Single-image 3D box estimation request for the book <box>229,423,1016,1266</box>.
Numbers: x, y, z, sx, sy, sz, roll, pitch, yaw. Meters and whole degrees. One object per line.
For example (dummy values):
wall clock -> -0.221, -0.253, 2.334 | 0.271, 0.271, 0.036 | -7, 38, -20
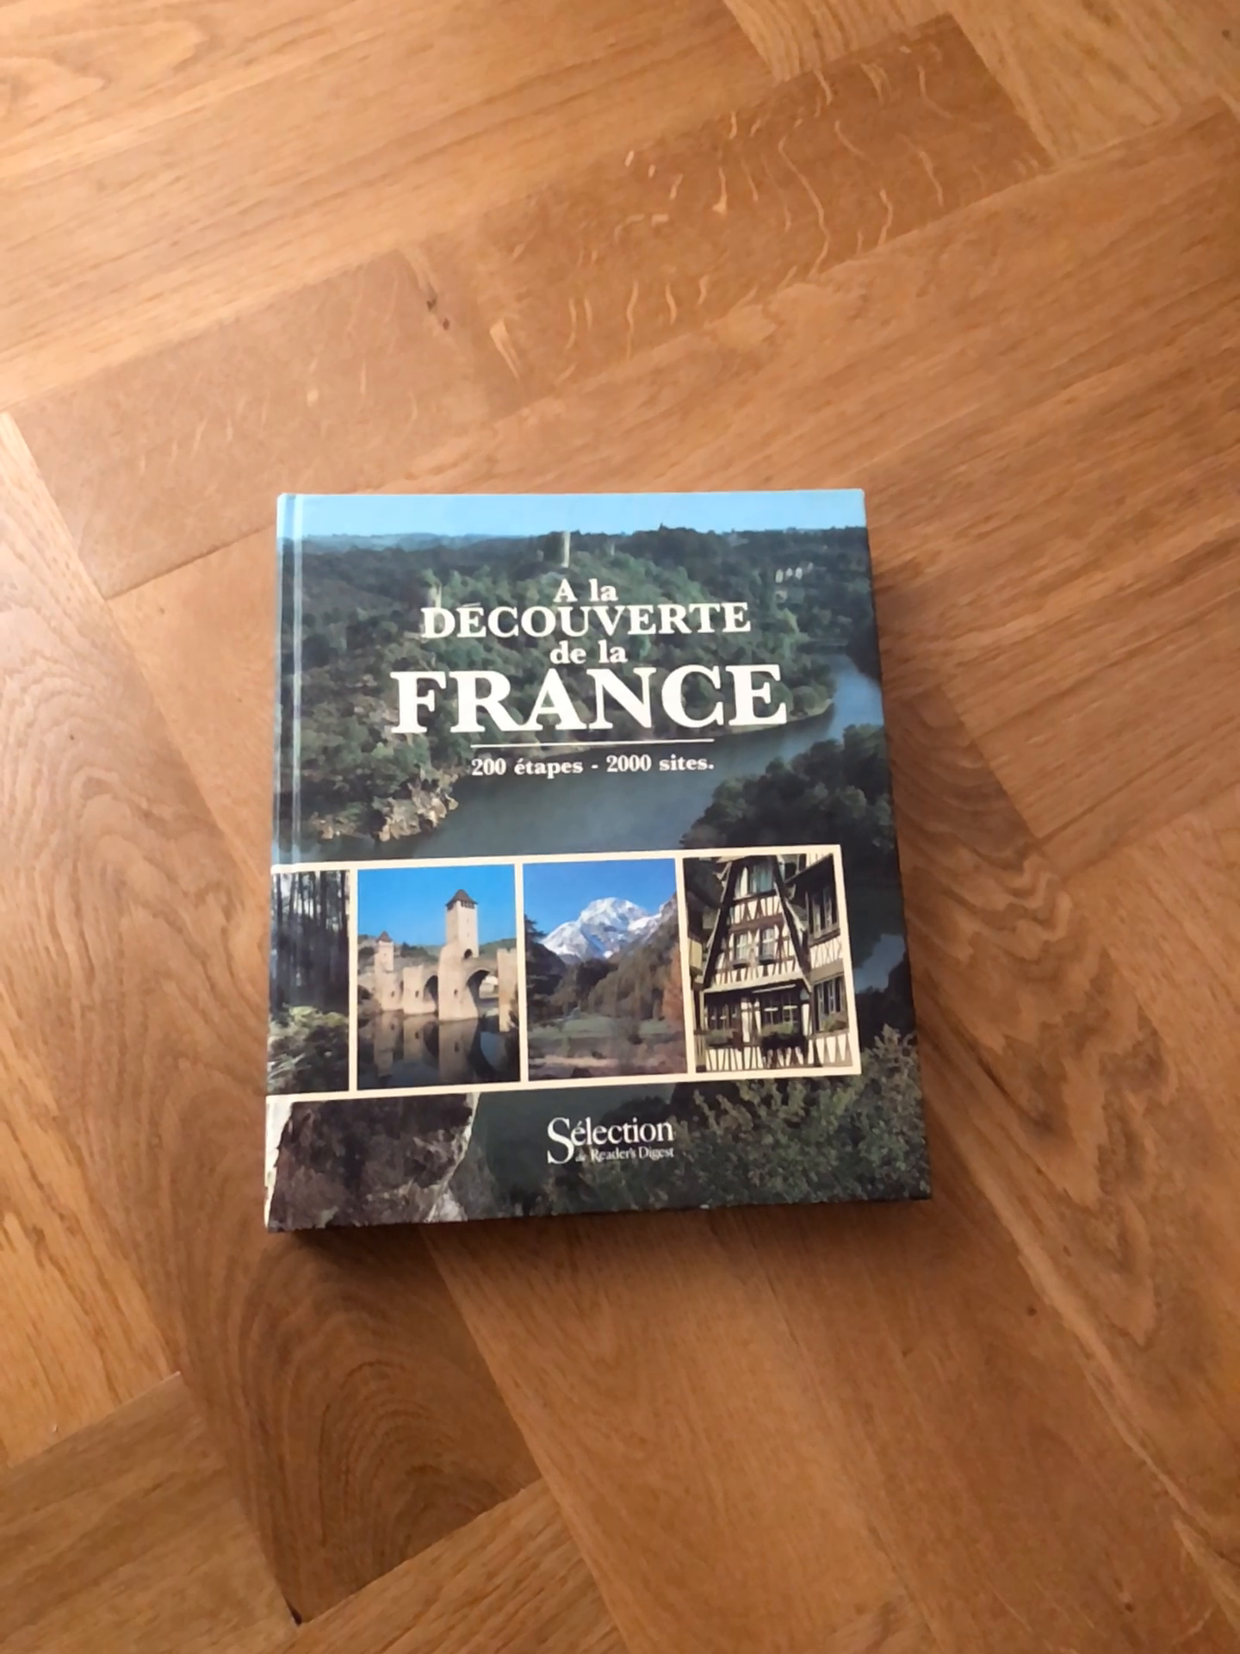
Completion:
book -> -0.004, -0.003, 0.487 | 0.250, 0.040, 0.290 | -1, 76, -4
